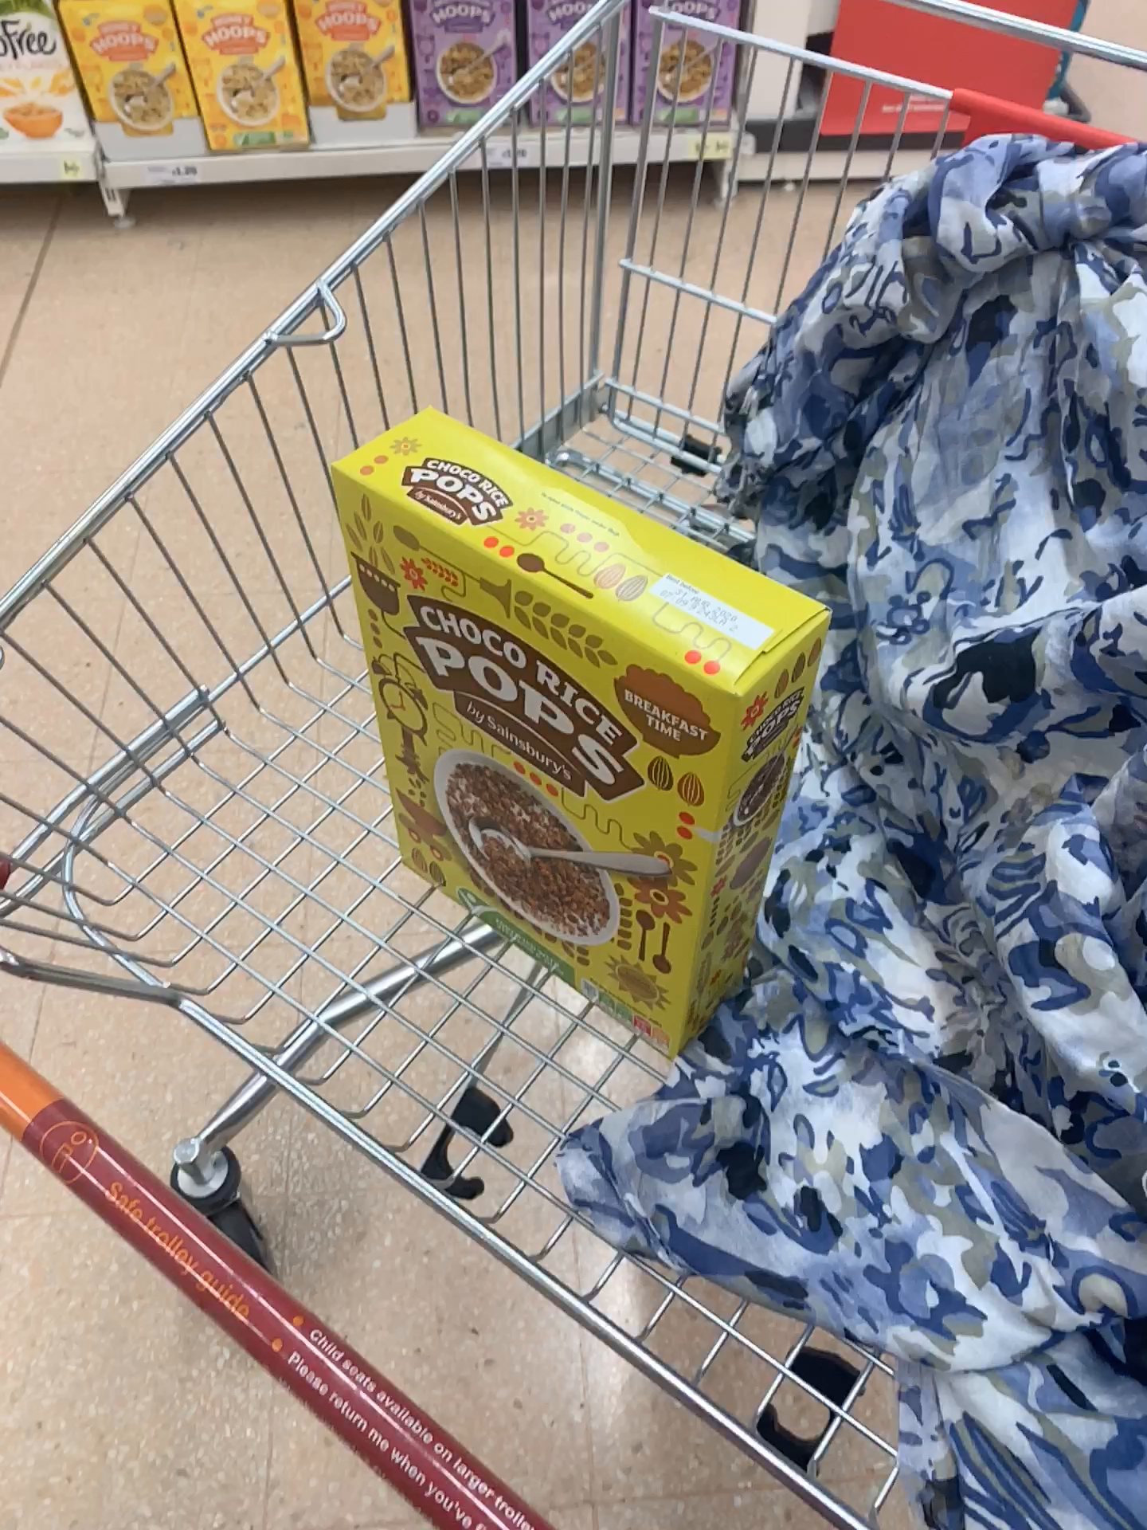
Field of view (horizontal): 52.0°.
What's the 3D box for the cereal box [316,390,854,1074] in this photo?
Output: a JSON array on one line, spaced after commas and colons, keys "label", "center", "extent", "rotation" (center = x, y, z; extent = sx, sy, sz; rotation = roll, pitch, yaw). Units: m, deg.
[{"label": "cereal box", "center": [-0.006, 0.000, 0.530], "extent": [0.201, 0.268, 0.060], "rotation": [32, 56, 21]}]
